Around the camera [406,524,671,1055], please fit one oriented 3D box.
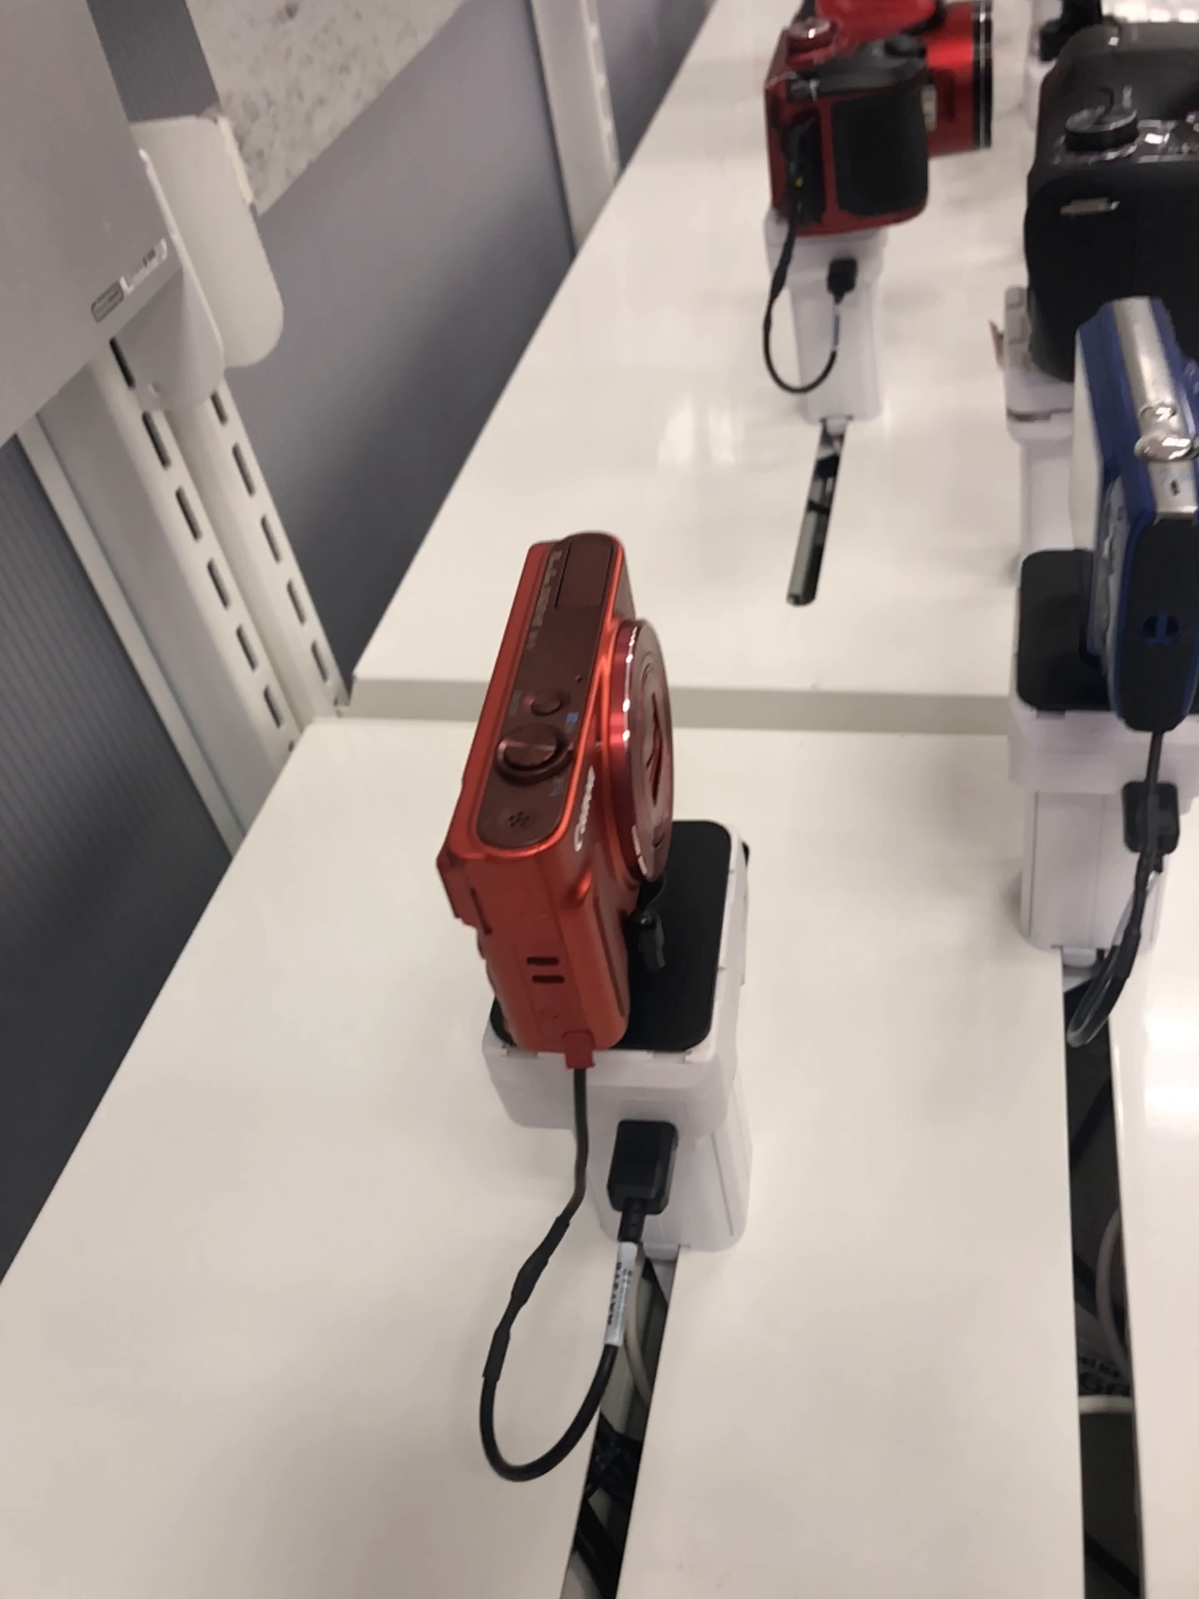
[{"bbox_3d":[-0.007,-0.005,0.264,0.028,0.052,0.096,-2,43,12],"label":"camera"}]
